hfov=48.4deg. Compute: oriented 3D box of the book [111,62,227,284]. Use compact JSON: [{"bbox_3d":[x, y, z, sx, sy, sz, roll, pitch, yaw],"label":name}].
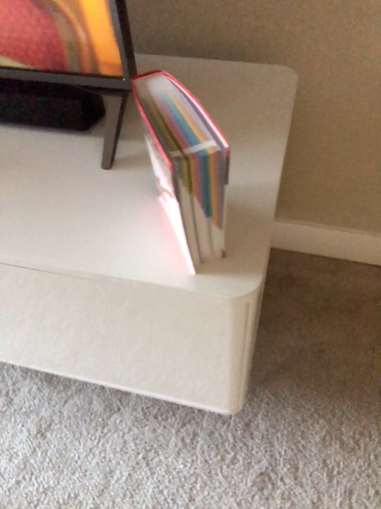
[{"bbox_3d":[-0.021,-0.084,0.469,0.060,0.179,0.150,-20,54,-11],"label":"book"}]
